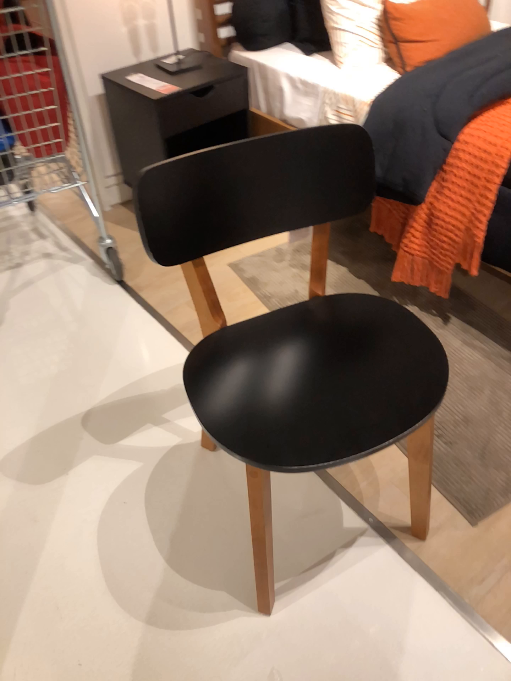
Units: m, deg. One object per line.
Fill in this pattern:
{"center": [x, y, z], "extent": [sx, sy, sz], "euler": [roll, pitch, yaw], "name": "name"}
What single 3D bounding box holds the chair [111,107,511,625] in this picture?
{"center": [0.096, 0.050, 1.032], "extent": [0.461, 0.705, 0.483], "euler": [-20, 45, -17], "name": "chair"}
